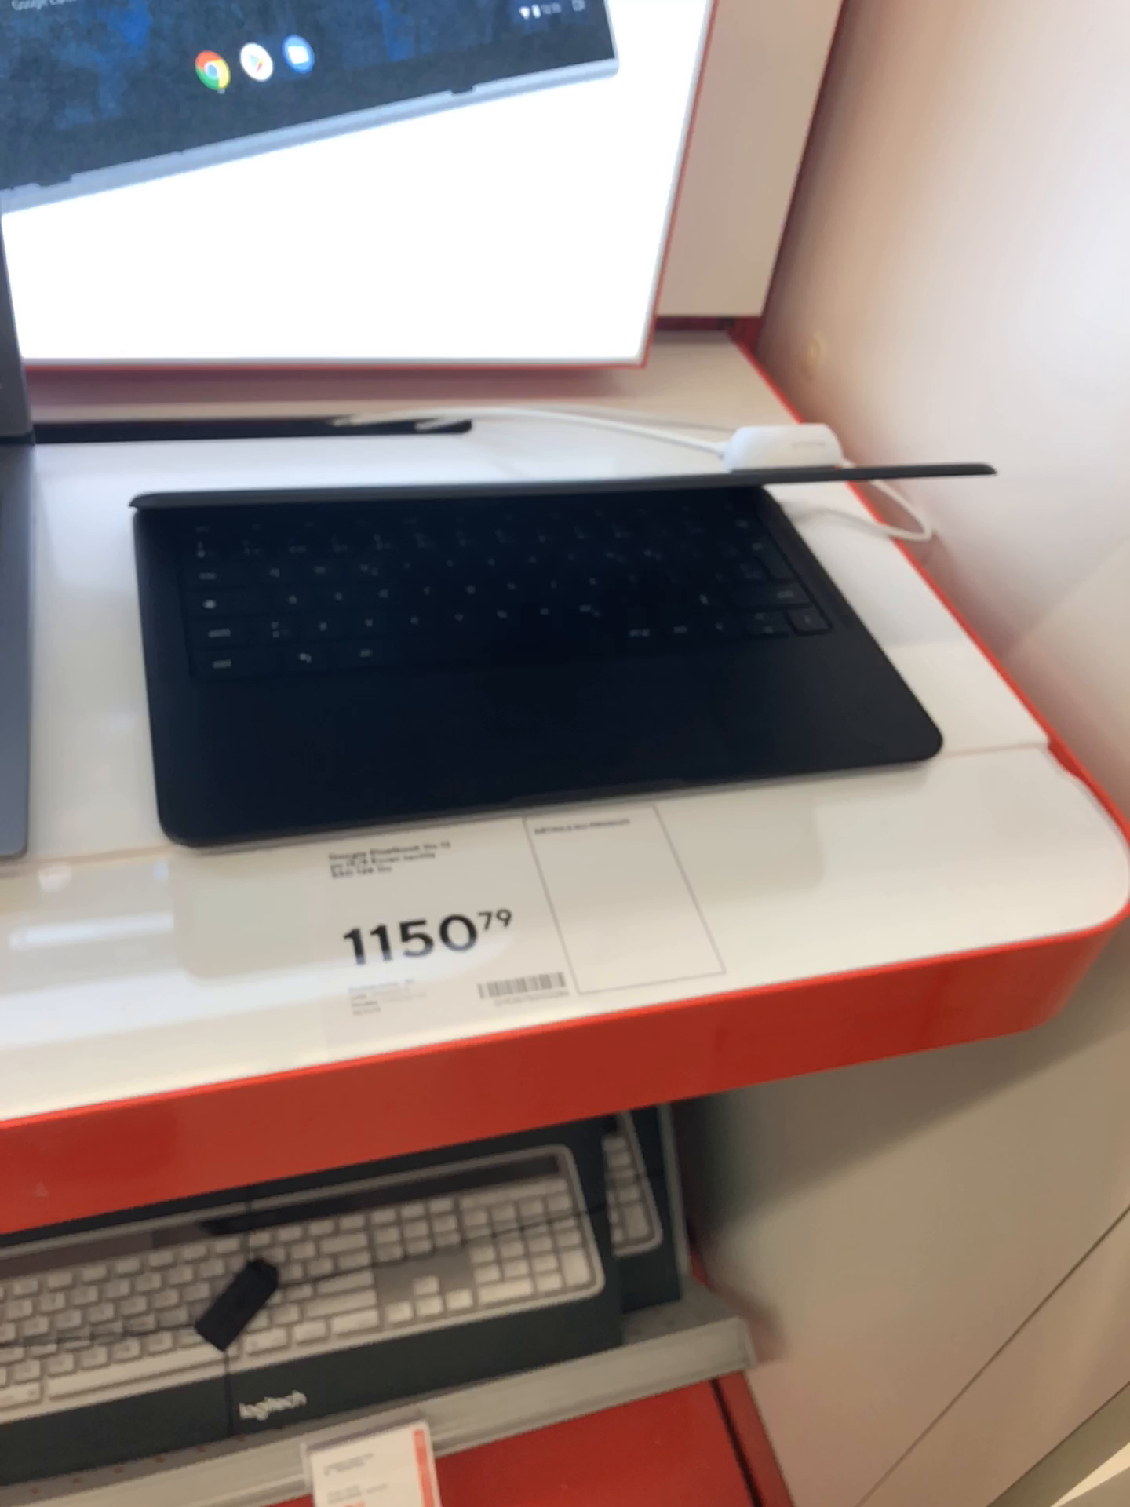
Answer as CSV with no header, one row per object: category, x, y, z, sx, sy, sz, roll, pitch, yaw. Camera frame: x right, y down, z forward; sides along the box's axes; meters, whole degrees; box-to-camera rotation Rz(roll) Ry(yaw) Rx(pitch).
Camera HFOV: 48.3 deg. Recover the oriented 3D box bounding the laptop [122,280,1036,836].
laptop,-0.011,-0.093,0.502,0.298,0.106,0.200,-6,44,-18
